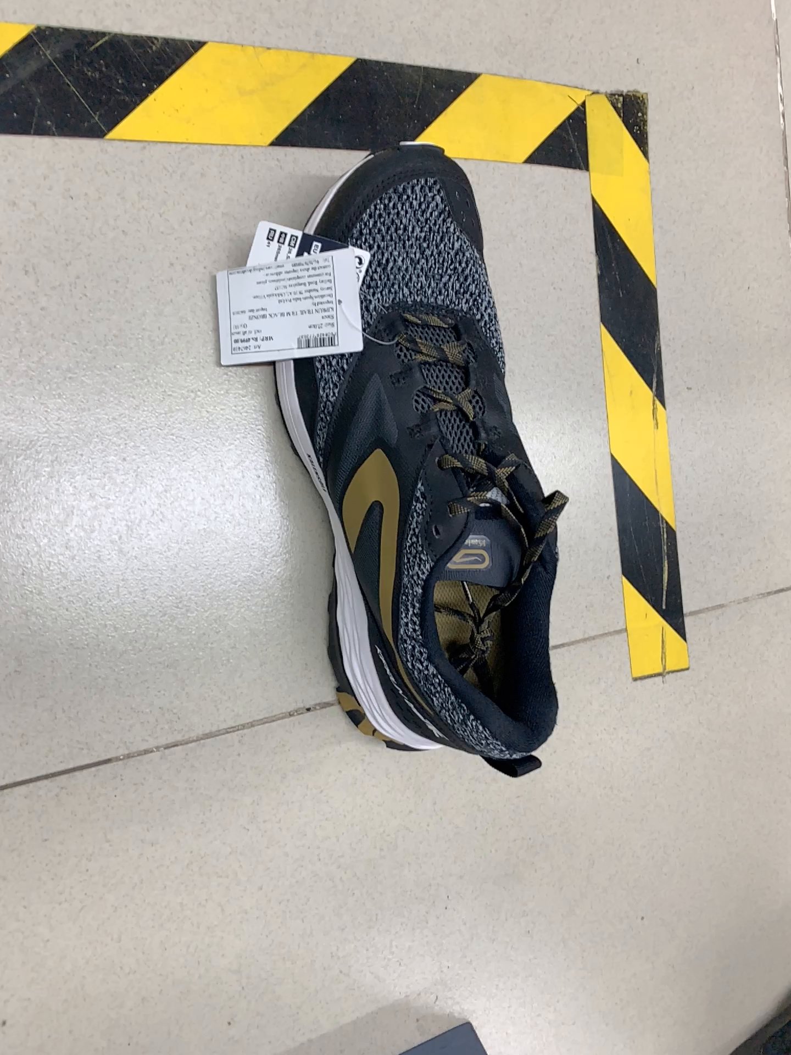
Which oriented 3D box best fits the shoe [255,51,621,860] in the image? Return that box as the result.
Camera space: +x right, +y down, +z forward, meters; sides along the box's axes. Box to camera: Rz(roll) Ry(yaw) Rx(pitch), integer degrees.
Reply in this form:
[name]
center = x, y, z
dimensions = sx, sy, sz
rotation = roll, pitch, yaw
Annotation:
[shoe]
center = 0.017, -0.028, 0.370
dimensions = 0.110, 0.100, 0.300
rotation = -6, 94, -26
